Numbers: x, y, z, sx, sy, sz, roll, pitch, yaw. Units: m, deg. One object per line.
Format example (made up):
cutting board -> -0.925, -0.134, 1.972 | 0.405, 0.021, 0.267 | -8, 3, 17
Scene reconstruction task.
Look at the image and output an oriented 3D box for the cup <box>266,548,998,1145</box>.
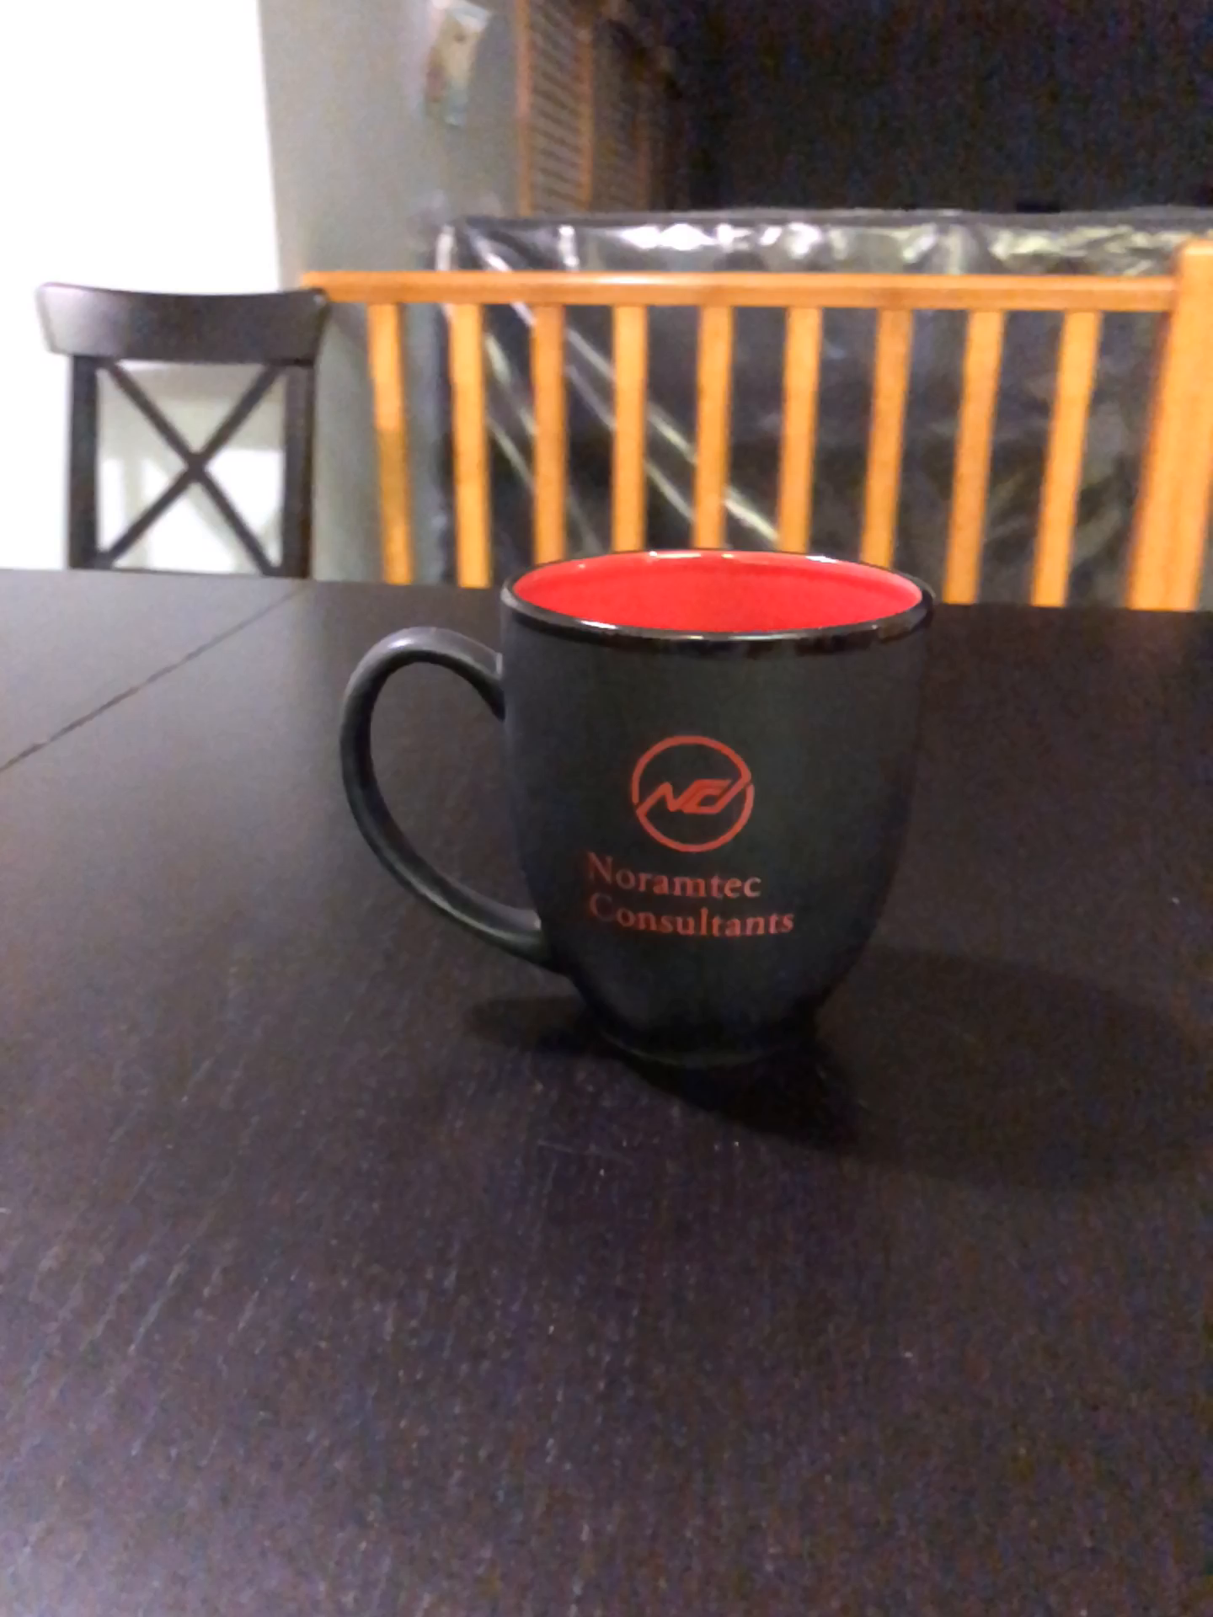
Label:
cup -> 0.006, 0.002, 0.324 | 0.140, 0.110, 0.100 | 2, 20, 3
